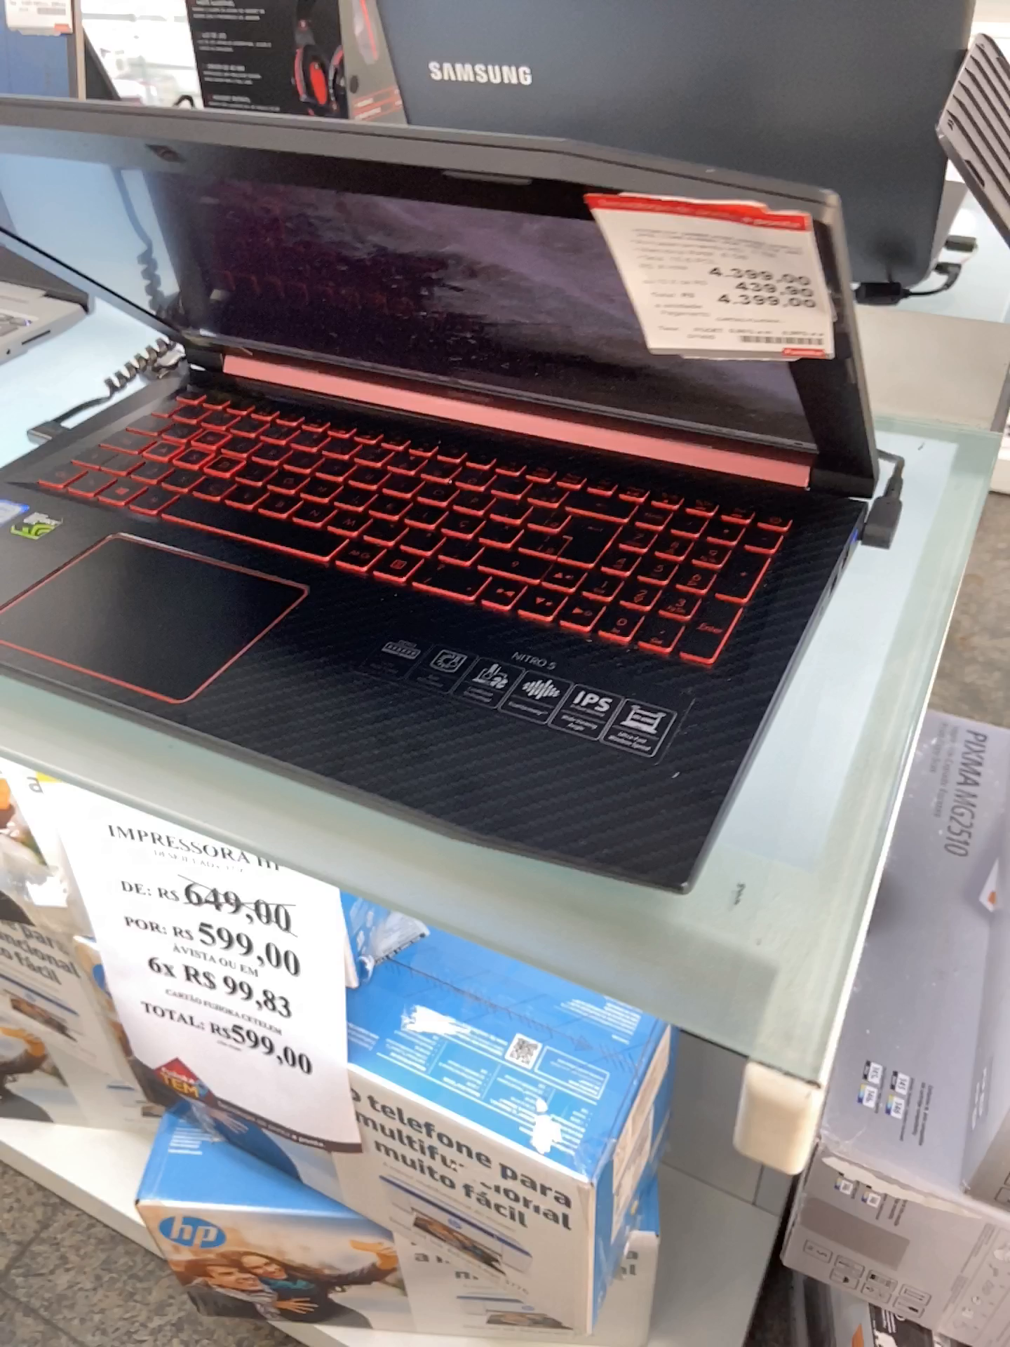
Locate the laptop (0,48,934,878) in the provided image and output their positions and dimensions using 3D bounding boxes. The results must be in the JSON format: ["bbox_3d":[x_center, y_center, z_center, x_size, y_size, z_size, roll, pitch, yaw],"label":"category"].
[{"bbox_3d":[-0.072,-0.122,0.398,0.380,0.163,0.235,16,42,23],"label":"laptop"}]
